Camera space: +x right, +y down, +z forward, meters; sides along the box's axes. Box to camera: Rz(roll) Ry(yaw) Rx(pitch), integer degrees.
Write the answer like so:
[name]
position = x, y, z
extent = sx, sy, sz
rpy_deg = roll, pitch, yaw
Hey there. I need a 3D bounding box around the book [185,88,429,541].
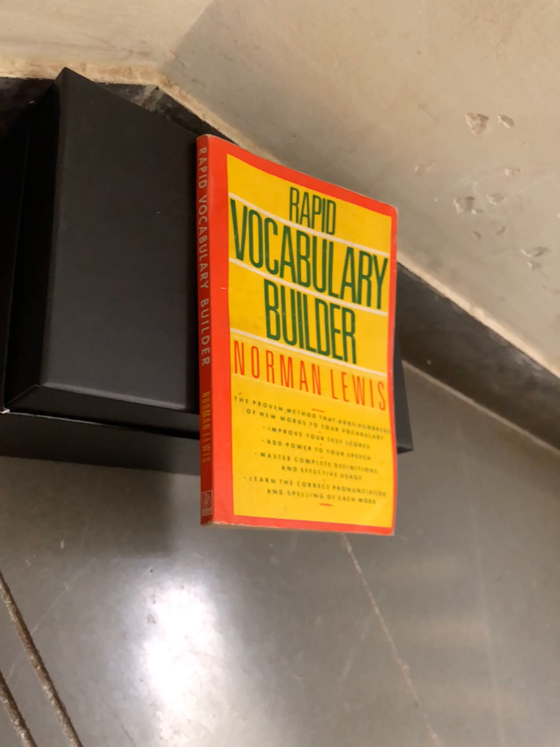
[book]
position = 0.016, -0.029, 0.353
extent = 0.141, 0.030, 0.230
rpy_deg = 16, 62, -39
